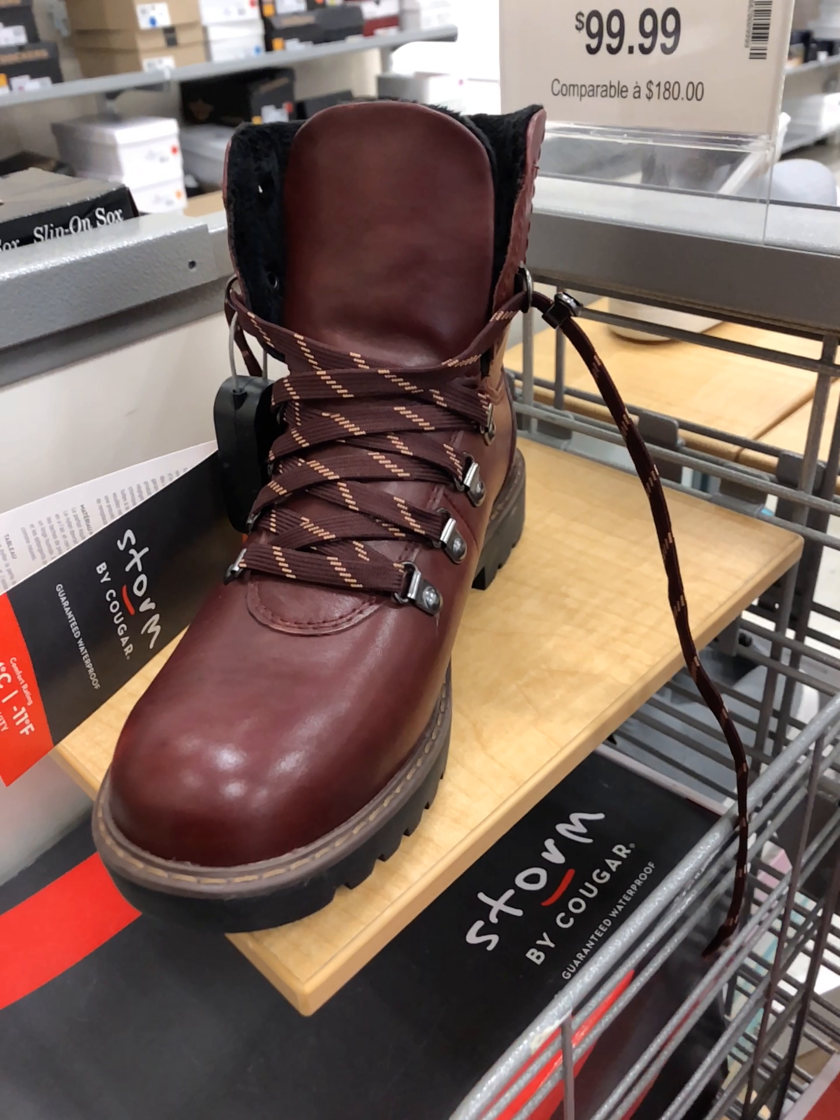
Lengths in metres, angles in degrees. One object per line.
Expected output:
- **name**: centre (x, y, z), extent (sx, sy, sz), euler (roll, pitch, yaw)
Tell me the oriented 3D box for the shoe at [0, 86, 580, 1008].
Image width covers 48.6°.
- **shoe**: centre (-0.029, -0.033, 0.283), extent (0.107, 0.169, 0.232), euler (8, 35, 18)
